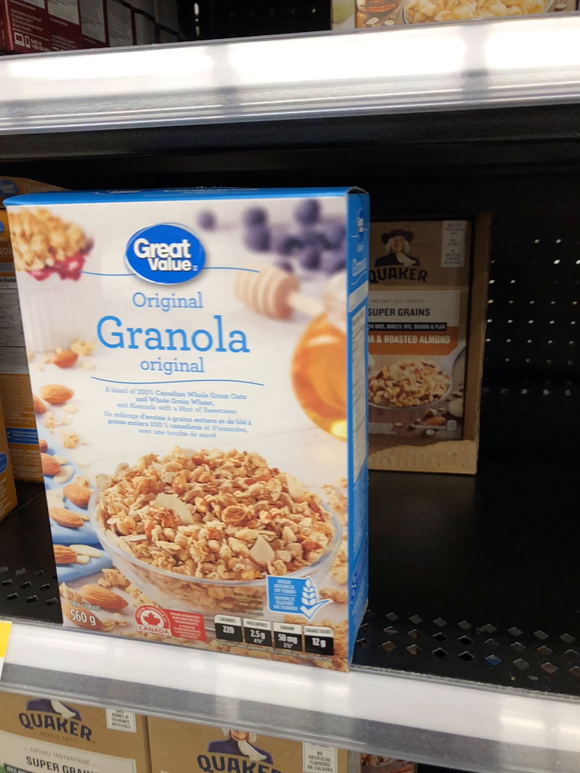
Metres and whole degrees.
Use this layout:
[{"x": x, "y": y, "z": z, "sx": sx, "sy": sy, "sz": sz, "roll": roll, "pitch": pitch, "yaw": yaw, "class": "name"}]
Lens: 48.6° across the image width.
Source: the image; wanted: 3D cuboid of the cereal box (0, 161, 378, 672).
[{"x": -0.042, "y": 0.010, "z": 0.315, "sx": 0.160, "sy": 0.219, "sz": 0.070, "roll": 3, "pitch": 16, "yaw": 14, "class": "cereal box"}]
